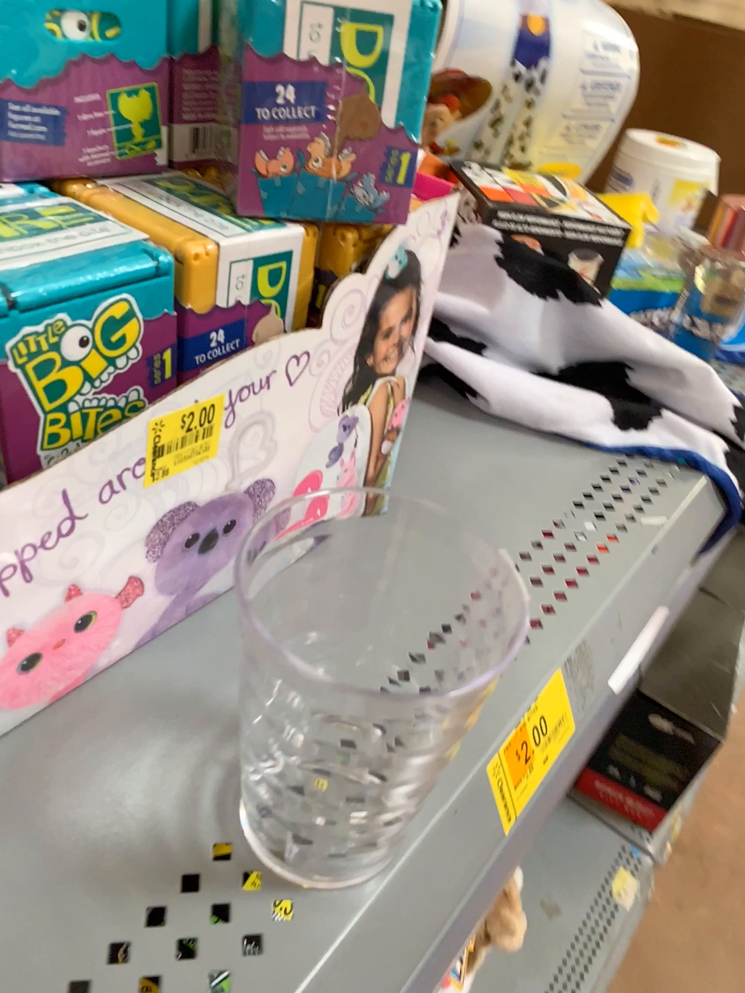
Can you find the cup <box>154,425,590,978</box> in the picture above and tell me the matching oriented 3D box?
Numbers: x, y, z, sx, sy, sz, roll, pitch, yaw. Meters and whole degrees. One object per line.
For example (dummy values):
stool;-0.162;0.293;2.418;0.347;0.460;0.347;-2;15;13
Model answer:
cup;-0.005;0.053;0.214;0.070;0.107;0.079;31;40;23
